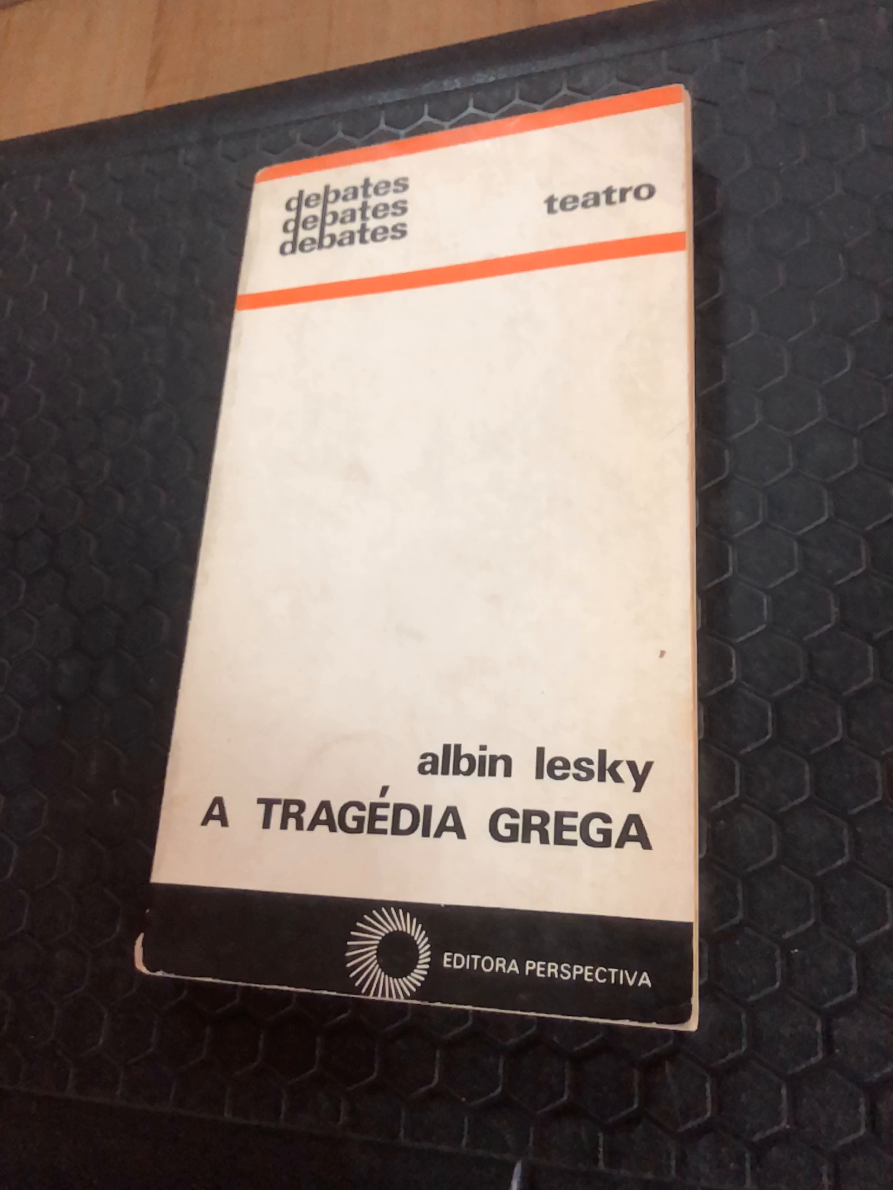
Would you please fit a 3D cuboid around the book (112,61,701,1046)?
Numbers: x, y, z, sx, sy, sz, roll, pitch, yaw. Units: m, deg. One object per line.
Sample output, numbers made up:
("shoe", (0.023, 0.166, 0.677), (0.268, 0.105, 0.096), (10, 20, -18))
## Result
("book", (-0.003, -0.019, 0.224), (0.114, 0.020, 0.207), (-2, 72, 18))
